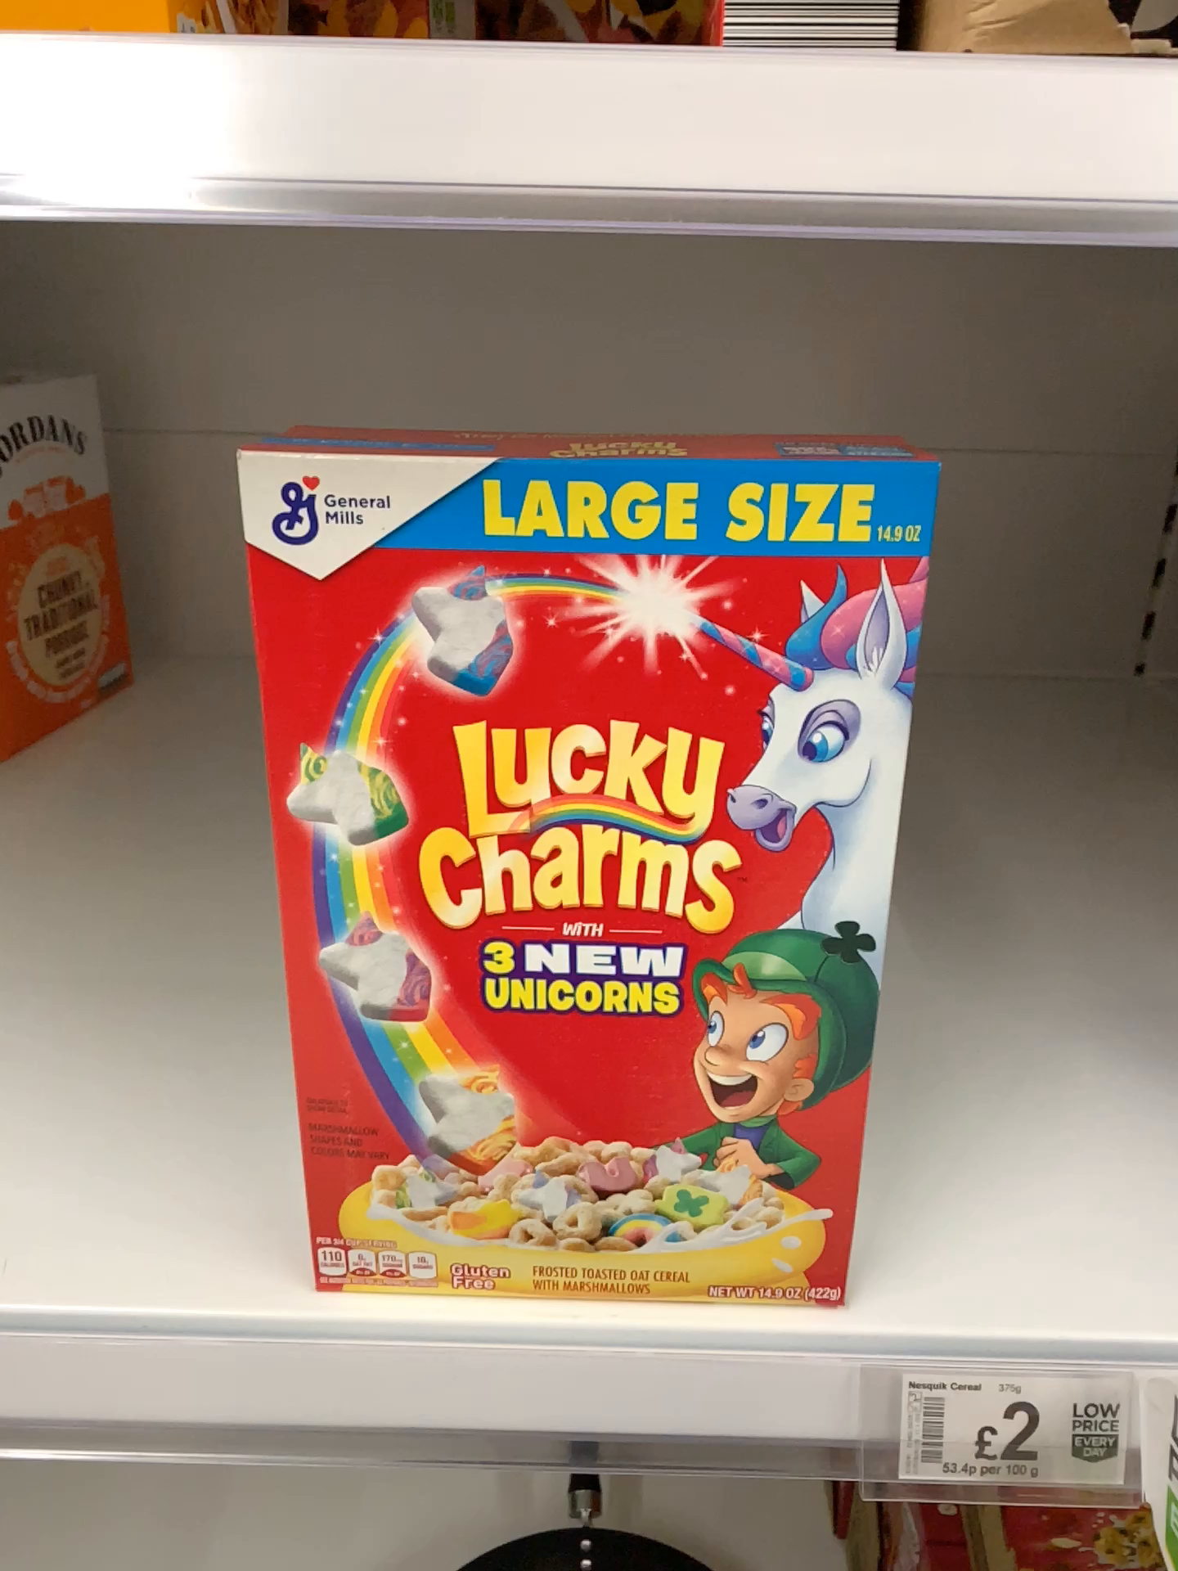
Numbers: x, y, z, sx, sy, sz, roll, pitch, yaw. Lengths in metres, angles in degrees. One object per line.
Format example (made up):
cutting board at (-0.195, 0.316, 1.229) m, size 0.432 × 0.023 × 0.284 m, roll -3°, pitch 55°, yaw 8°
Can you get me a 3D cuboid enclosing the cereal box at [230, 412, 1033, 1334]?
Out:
cereal box at (0.008, 0.037, 0.405) m, size 0.210 × 0.298 × 0.071 m, roll 2°, pitch 21°, yaw 1°
